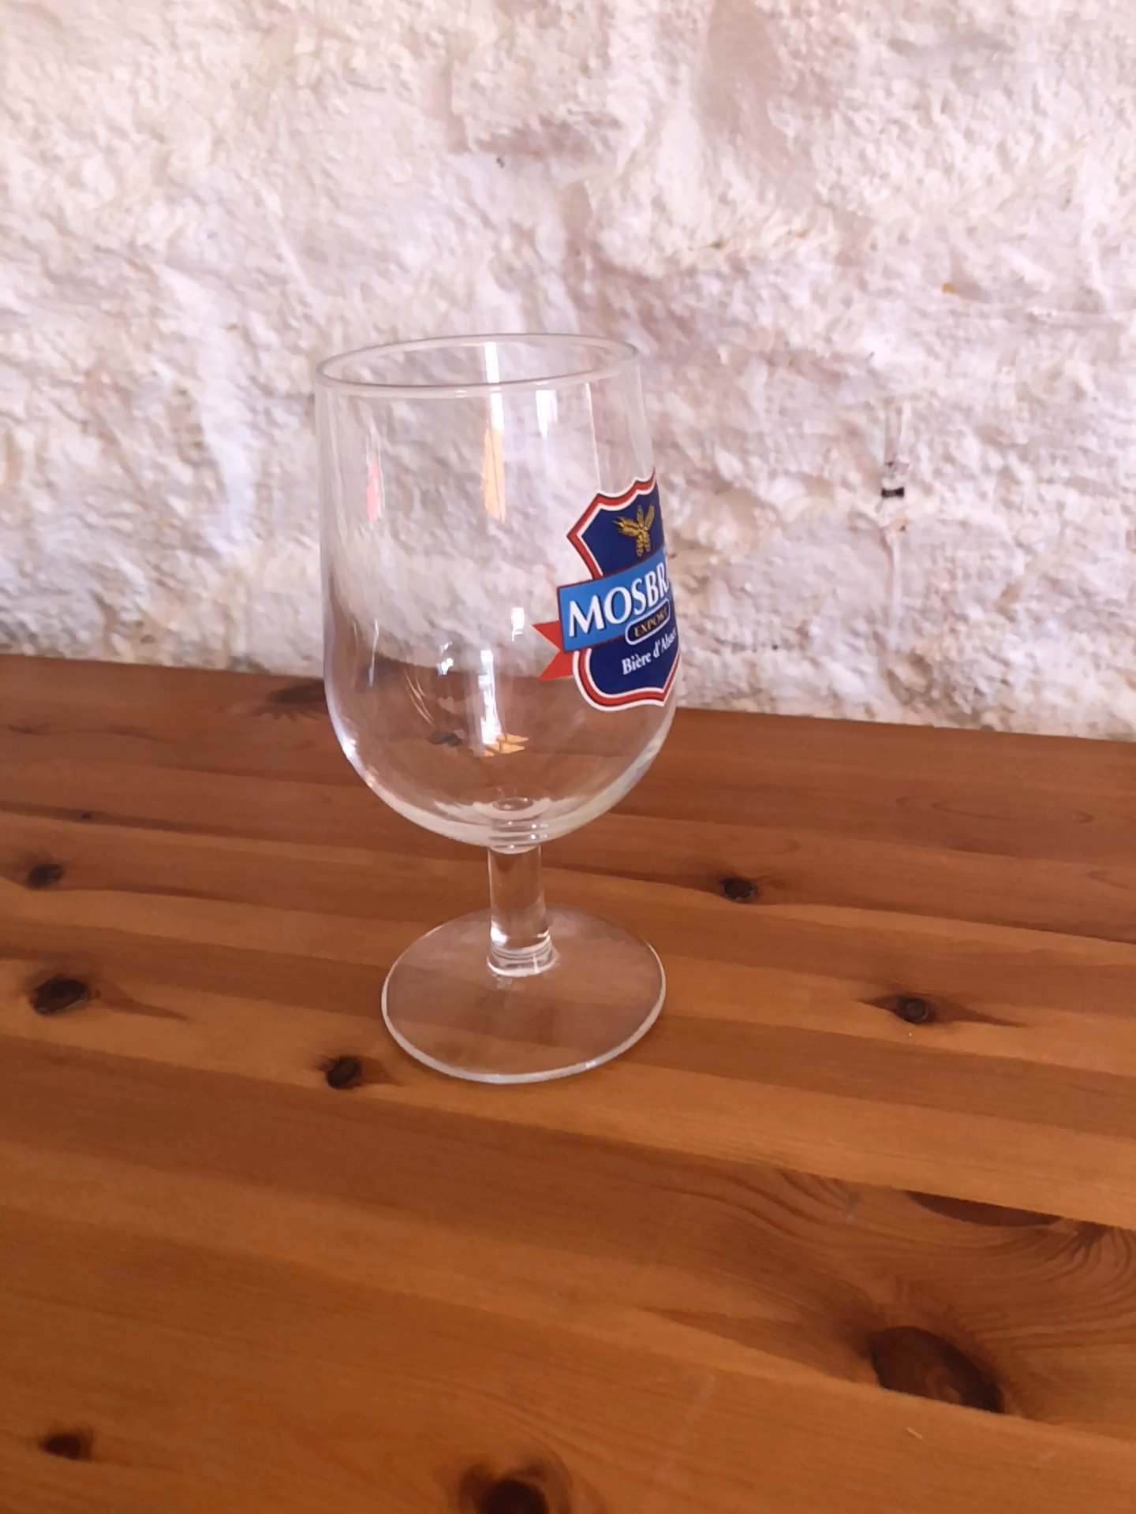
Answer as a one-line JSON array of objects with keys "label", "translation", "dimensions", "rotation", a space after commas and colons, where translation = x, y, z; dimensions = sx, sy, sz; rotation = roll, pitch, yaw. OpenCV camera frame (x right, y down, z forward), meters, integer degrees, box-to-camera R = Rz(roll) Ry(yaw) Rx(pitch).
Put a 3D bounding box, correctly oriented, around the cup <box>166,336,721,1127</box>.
[{"label": "cup", "translation": [-0.019, -0.012, 0.274], "dimensions": [0.077, 0.142, 0.079], "rotation": [-2, 24, 1]}]
